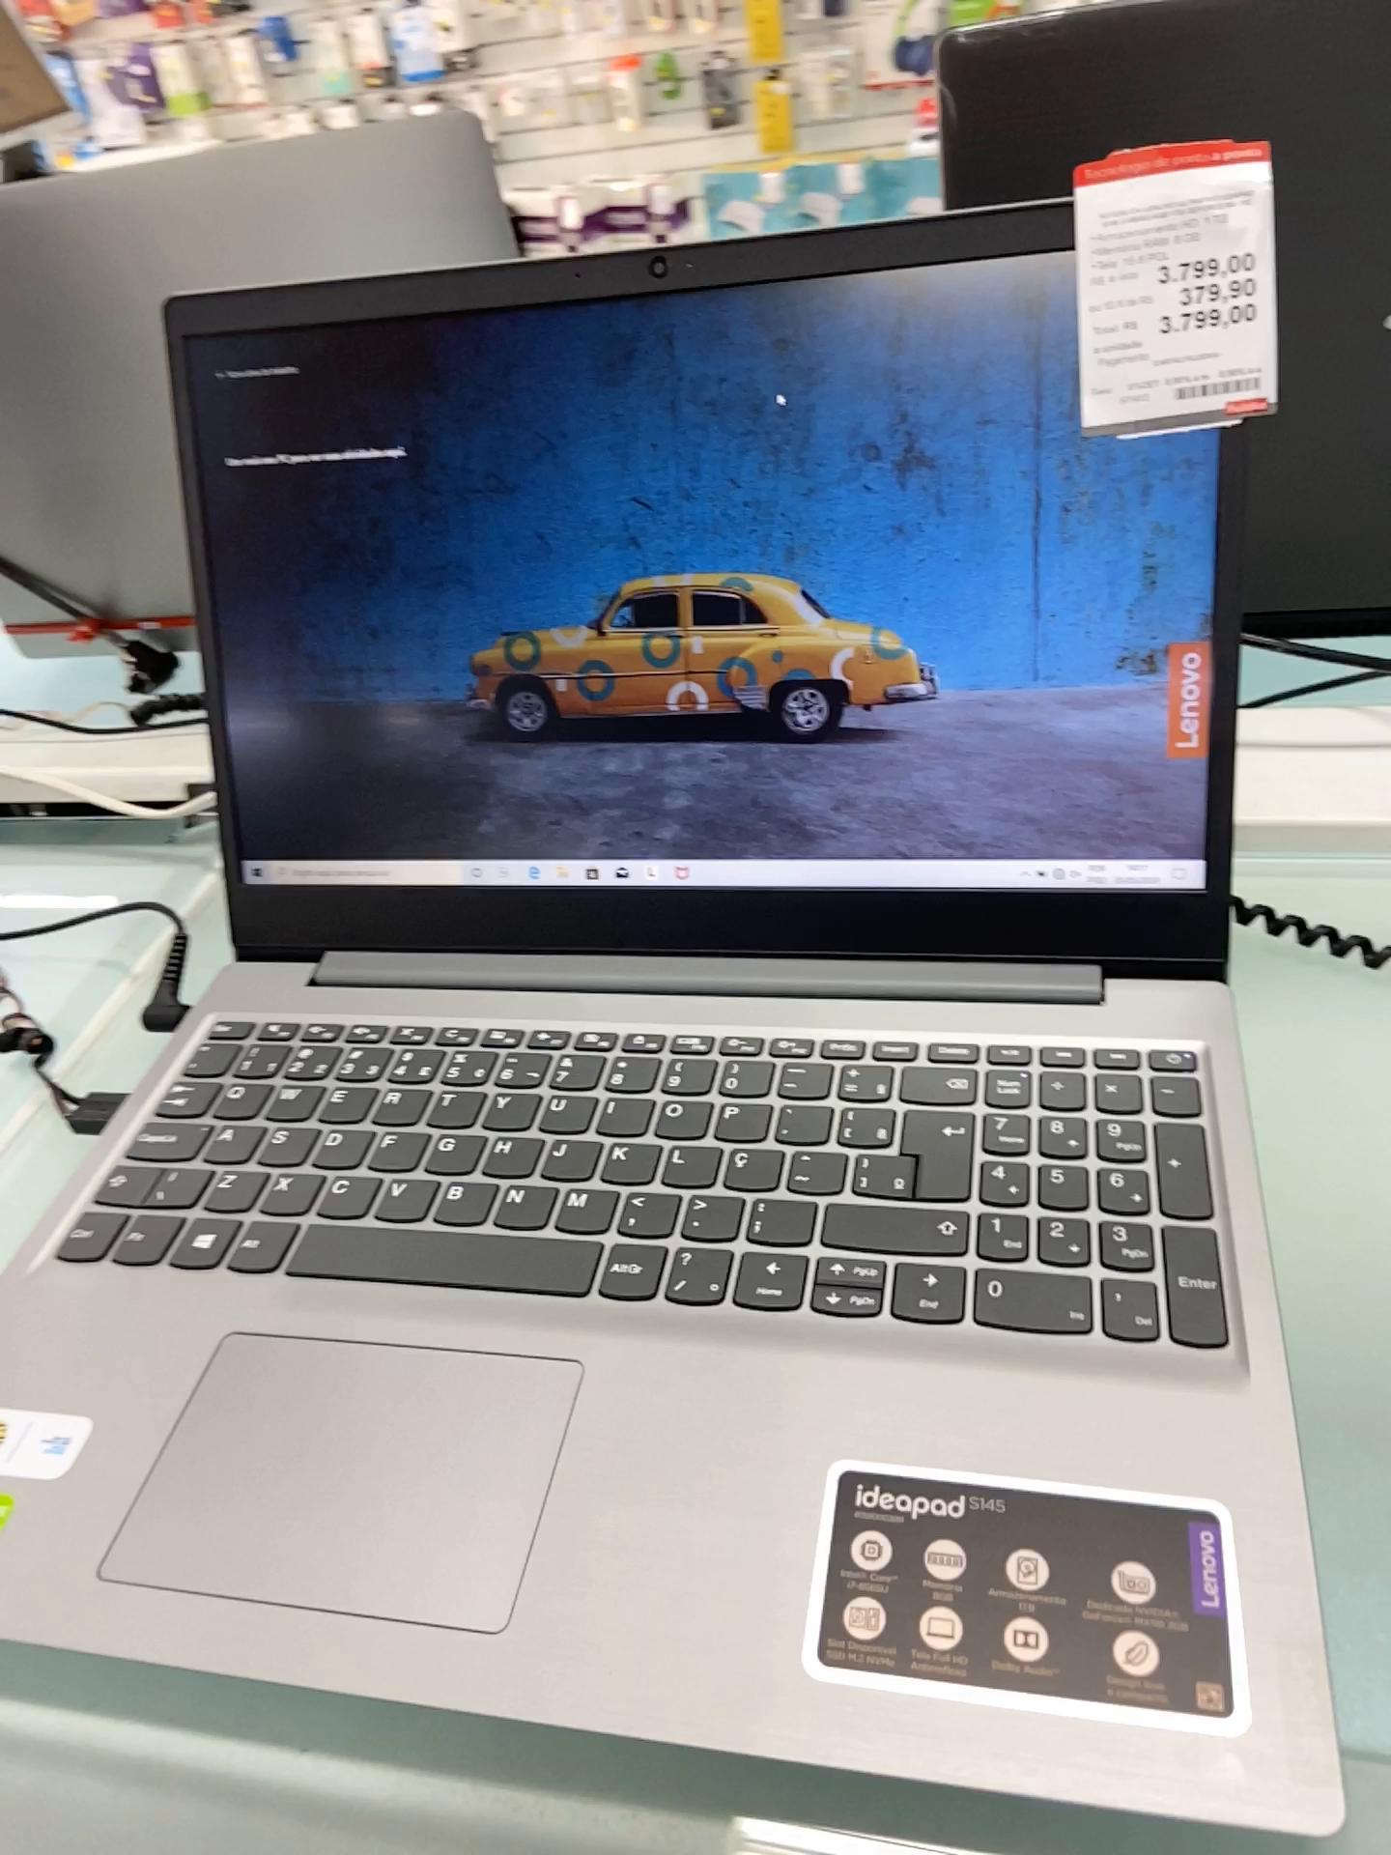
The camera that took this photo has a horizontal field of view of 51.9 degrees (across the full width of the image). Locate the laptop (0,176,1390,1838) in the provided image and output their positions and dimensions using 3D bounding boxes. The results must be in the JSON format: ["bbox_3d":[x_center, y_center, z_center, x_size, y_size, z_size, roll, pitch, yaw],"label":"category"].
[{"bbox_3d":[-0.034,-0.027,0.389,0.364,0.213,0.362,0,38,15],"label":"laptop"}]
